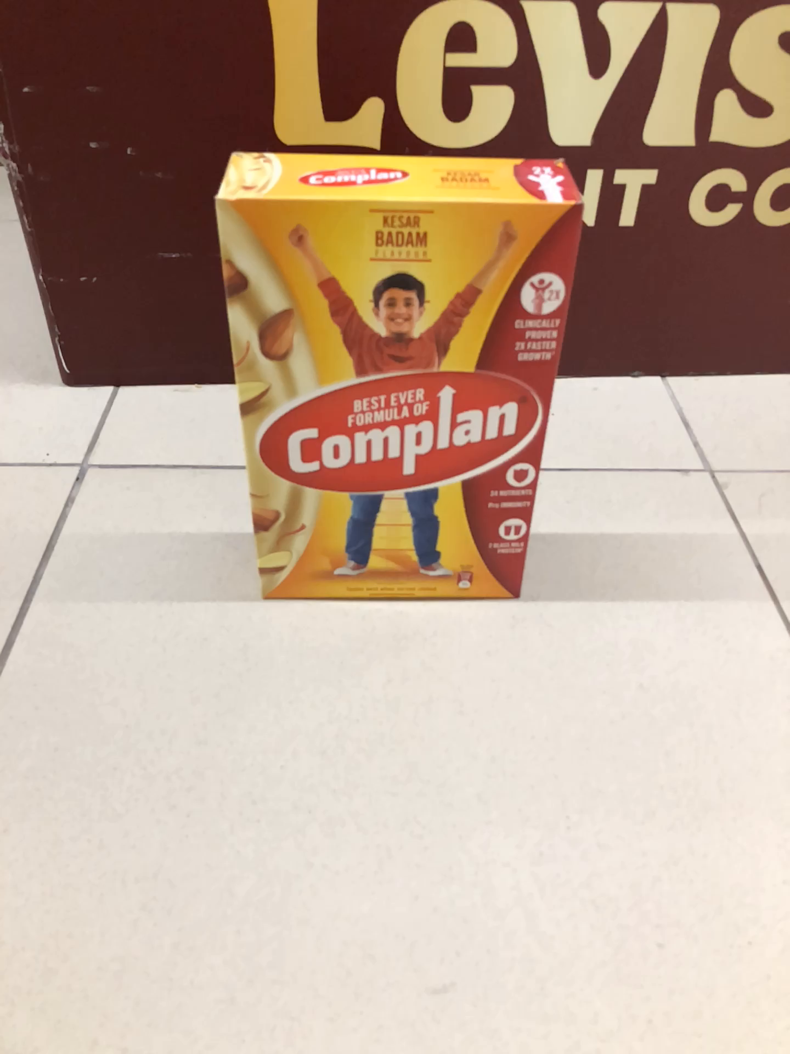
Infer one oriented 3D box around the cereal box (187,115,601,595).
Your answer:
[{"bbox_3d":[-0.003,-0.067,0.407,0.150,0.218,0.060,0,41,-2],"label":"cereal box"}]
